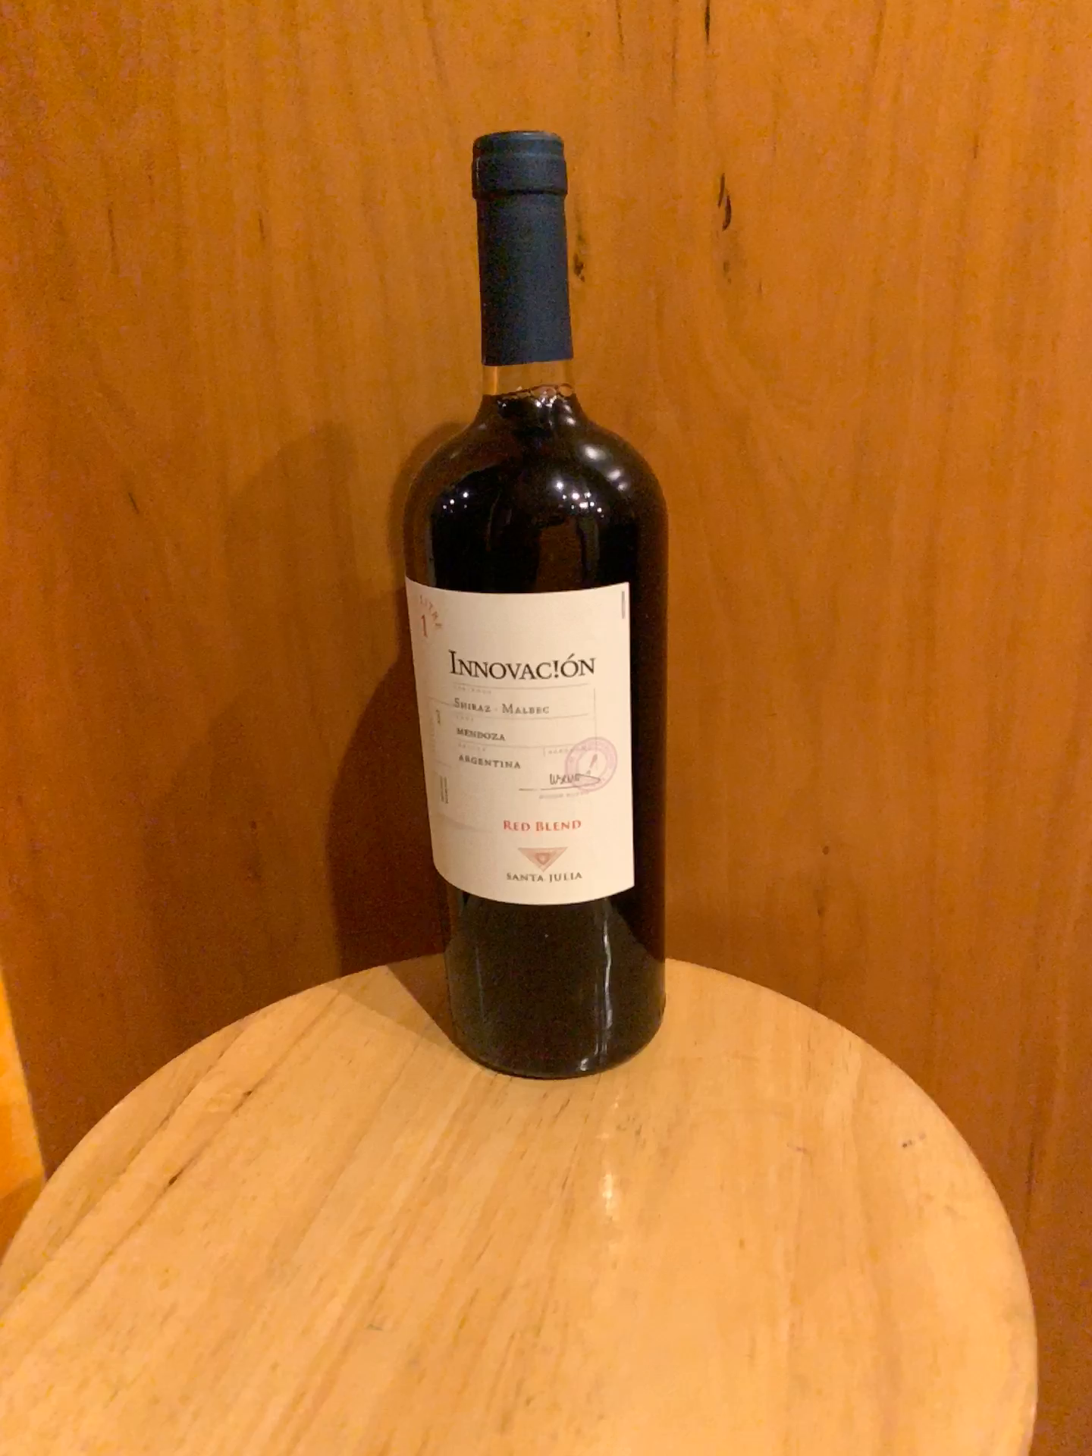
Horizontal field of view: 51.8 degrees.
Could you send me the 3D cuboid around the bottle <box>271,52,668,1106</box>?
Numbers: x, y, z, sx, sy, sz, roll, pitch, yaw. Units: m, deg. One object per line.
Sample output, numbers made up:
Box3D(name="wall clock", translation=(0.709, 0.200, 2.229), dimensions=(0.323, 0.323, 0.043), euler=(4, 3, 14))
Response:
Box3D(name="bottle", translation=(-0.012, -0.034, 0.362), dimensions=(0.090, 0.299, 0.080), euler=(2, 19, 13))
